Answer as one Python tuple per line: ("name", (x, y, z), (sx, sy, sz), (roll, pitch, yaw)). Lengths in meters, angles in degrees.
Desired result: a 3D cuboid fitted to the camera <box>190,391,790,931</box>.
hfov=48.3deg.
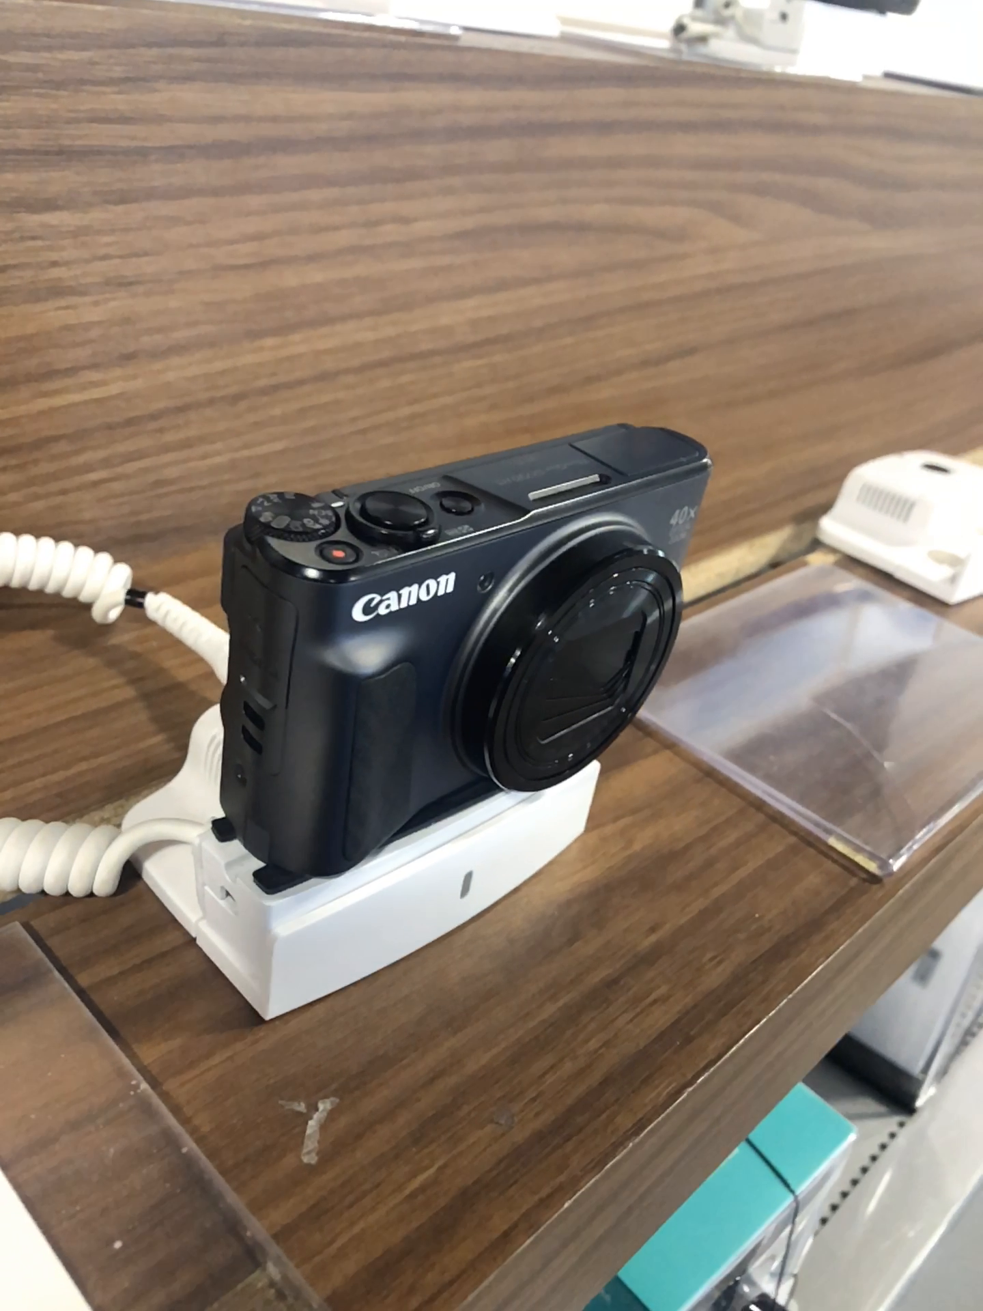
("camera", (0.002, -0.006, 0.207), (0.110, 0.063, 0.037), (-22, 46, -41))
